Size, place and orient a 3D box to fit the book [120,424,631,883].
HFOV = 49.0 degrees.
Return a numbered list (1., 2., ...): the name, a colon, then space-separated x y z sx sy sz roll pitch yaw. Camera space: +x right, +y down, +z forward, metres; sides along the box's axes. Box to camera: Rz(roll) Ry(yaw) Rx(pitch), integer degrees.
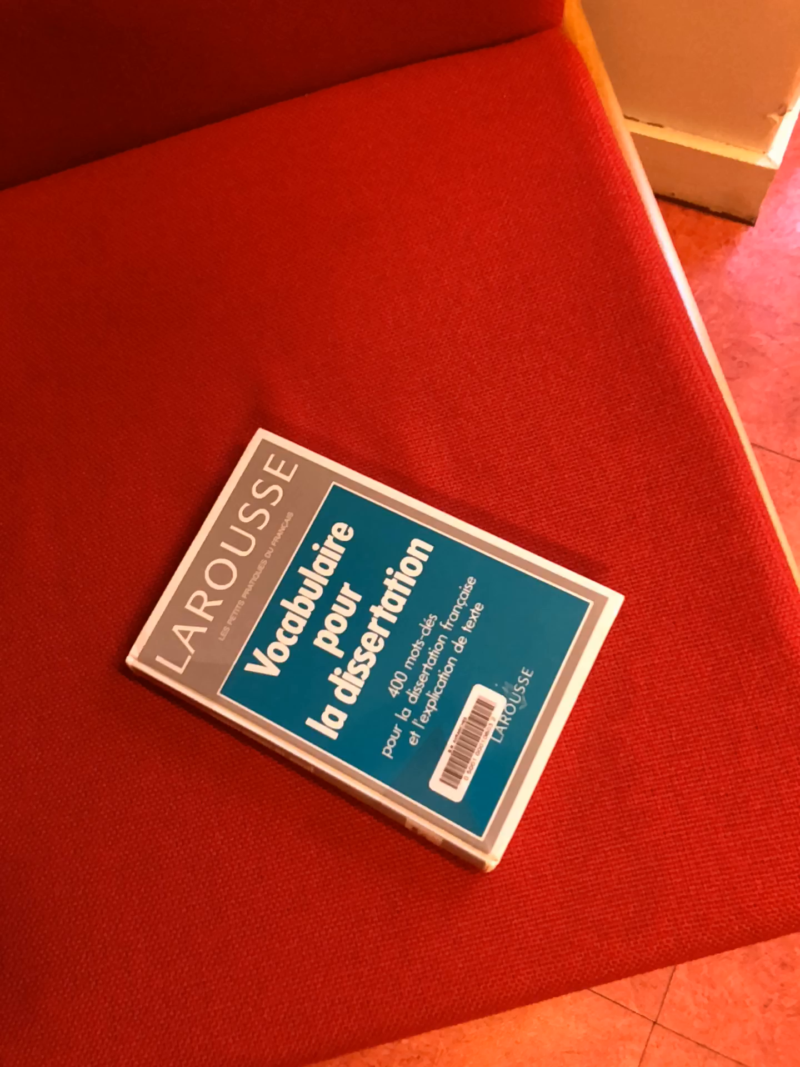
1. book: -0.013 0.051 0.420 0.198 0.030 0.137 25 81 13
